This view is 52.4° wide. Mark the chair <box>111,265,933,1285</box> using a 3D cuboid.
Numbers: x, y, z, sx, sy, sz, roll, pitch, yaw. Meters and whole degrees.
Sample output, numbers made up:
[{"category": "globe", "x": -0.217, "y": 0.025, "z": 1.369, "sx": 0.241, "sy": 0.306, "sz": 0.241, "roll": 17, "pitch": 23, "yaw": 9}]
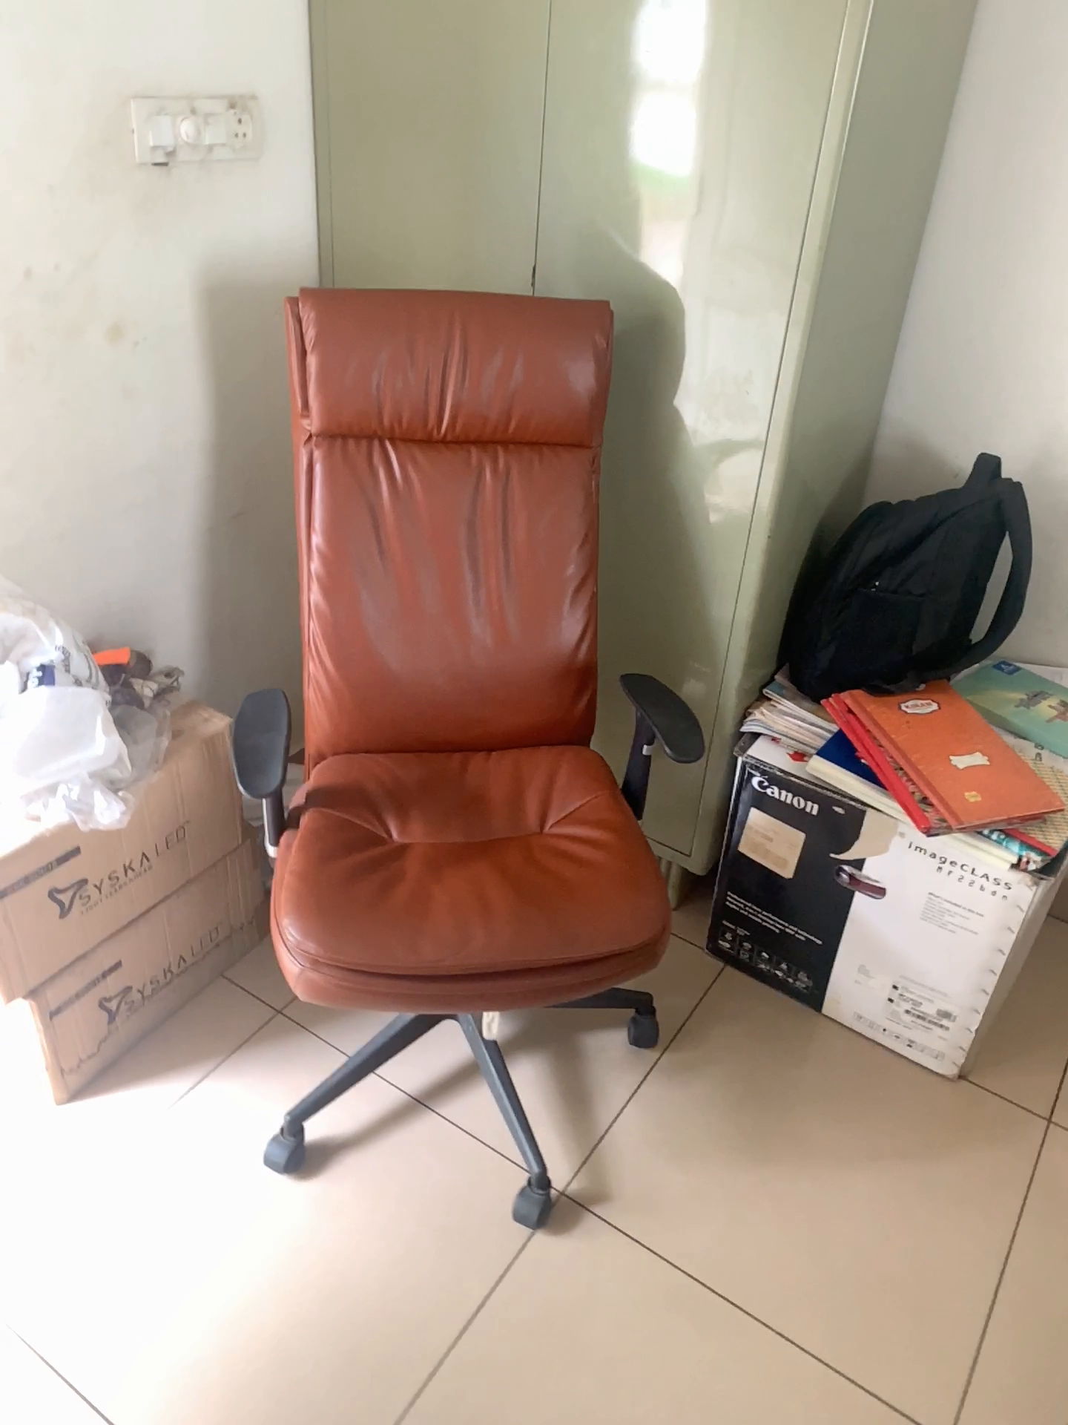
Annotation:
[{"category": "chair", "x": -0.092, "y": 0.034, "z": 1.580, "sx": 0.690, "sy": 1.085, "sz": 0.934, "roll": -2, "pitch": 33, "yaw": -9}]
